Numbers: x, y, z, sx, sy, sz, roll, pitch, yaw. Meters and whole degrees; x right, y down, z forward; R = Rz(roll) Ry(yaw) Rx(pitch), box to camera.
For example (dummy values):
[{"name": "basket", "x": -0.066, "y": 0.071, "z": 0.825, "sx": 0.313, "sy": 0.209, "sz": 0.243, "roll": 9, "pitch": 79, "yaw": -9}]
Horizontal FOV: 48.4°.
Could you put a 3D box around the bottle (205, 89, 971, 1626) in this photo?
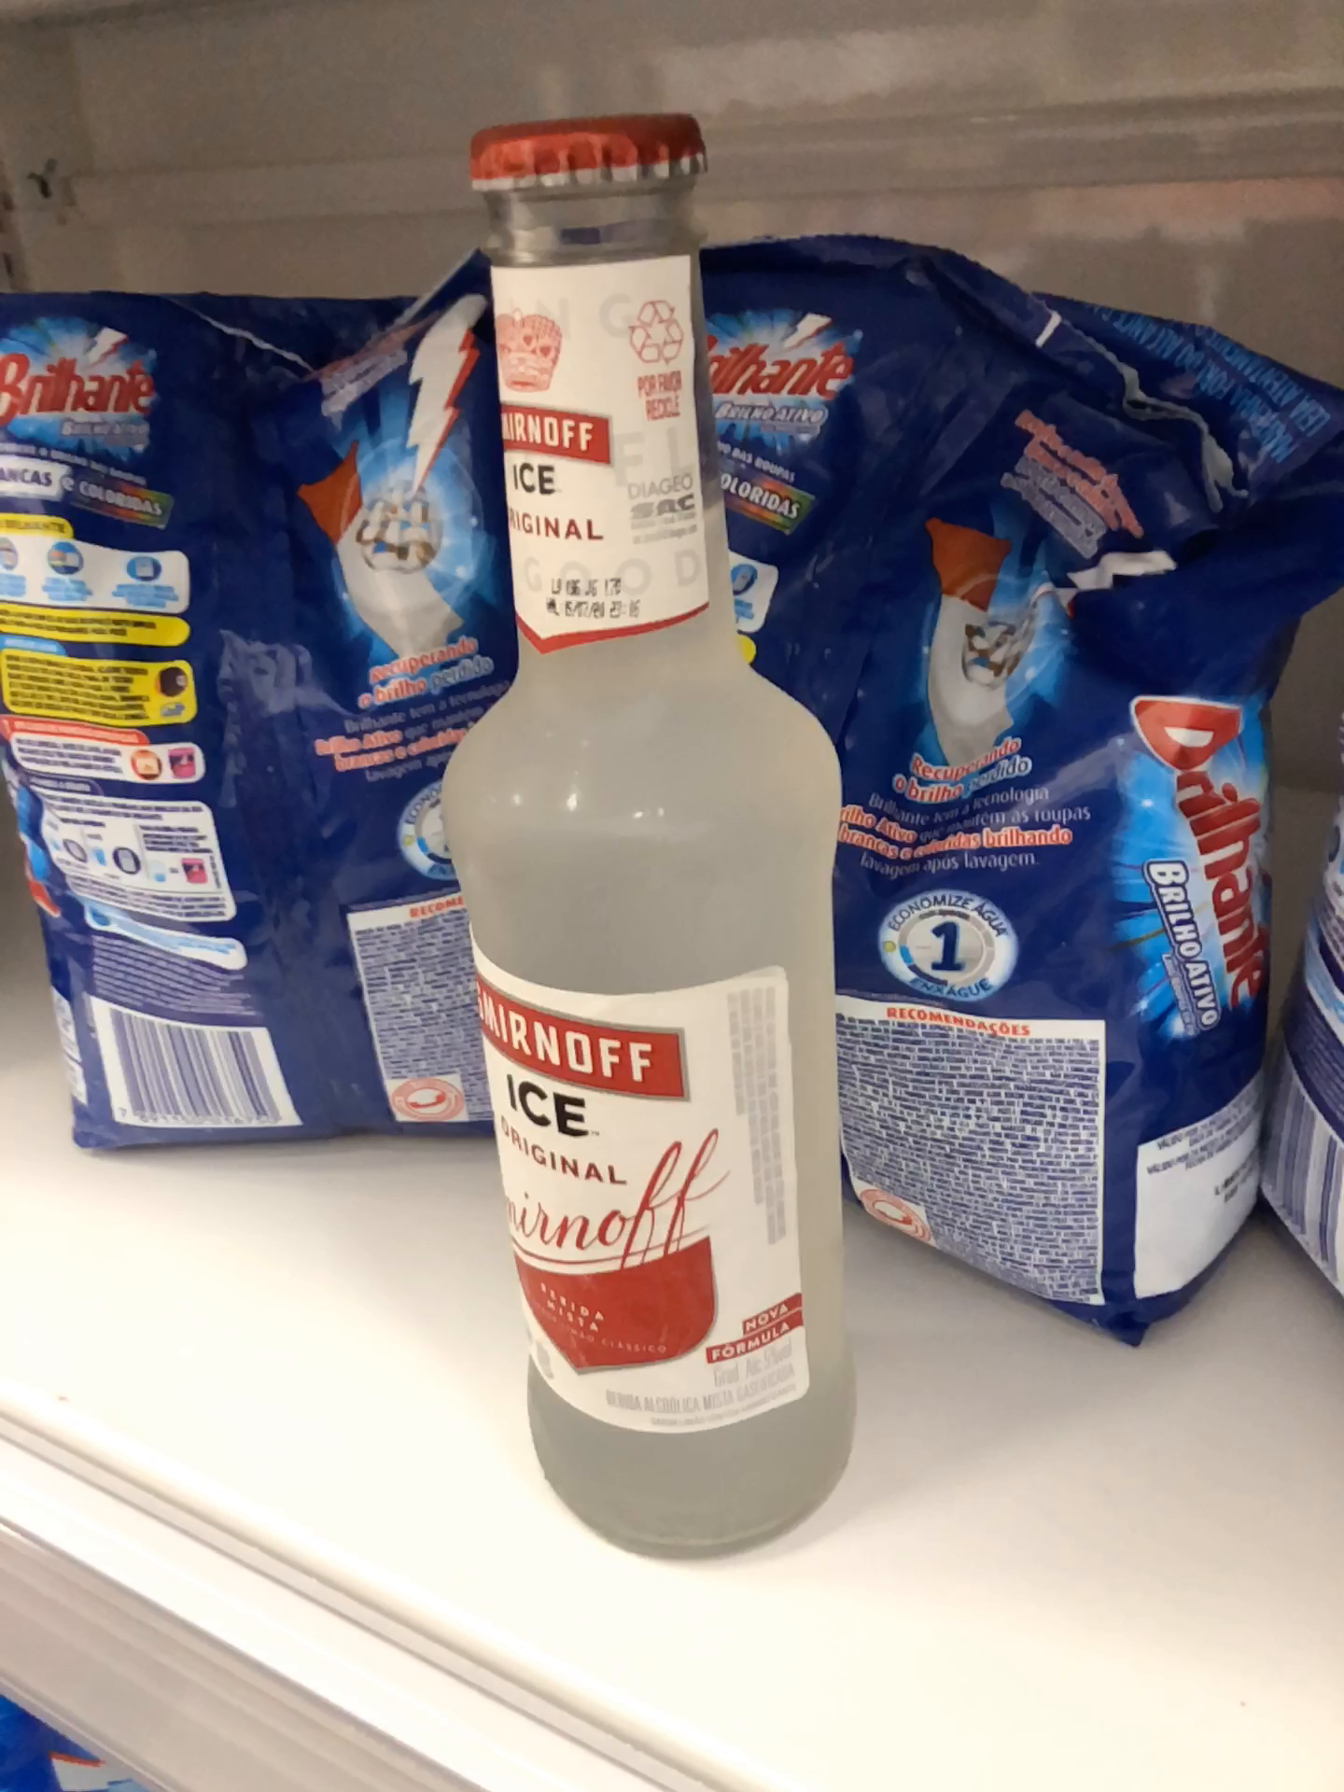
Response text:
[{"name": "bottle", "x": -0.004, "y": -0.001, "z": 0.226, "sx": 0.070, "sy": 0.208, "sz": 0.060, "roll": 17, "pitch": 33, "yaw": 35}]
